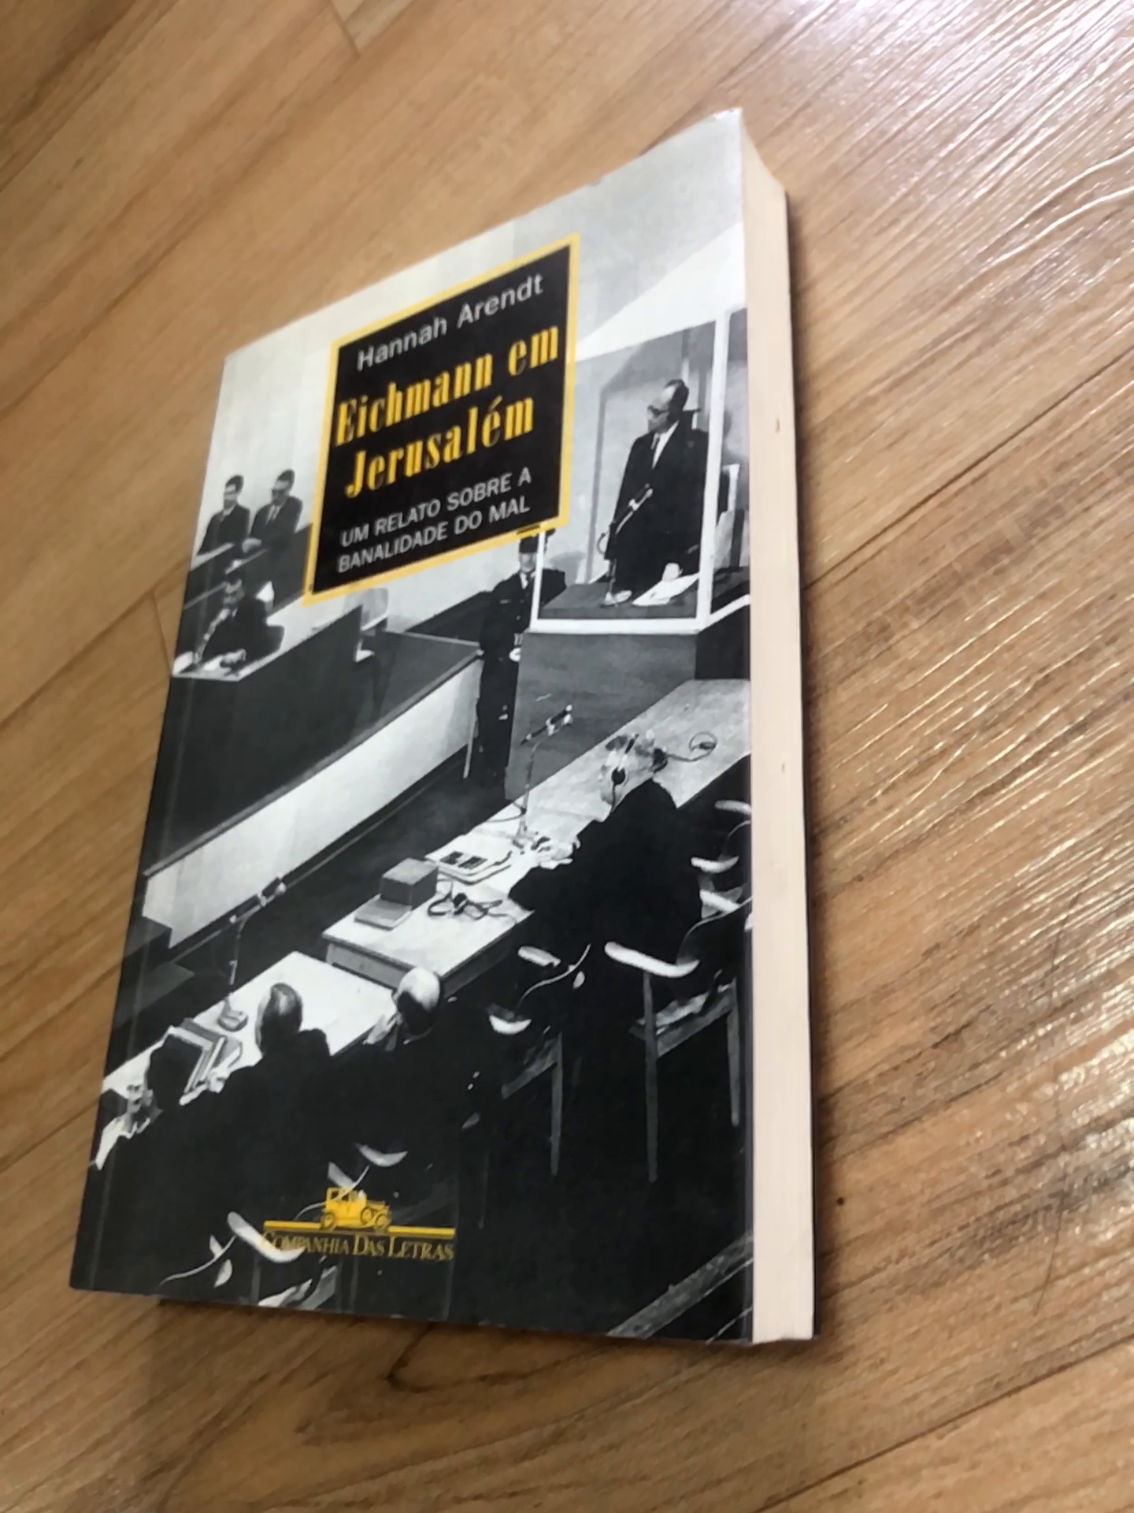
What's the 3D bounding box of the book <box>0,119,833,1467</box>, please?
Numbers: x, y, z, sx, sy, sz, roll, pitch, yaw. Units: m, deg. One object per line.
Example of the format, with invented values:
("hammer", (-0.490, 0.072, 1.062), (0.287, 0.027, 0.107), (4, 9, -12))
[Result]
("book", (-0.029, 0.001, 0.226), (0.145, 0.023, 0.203), (-11, 64, 31))
